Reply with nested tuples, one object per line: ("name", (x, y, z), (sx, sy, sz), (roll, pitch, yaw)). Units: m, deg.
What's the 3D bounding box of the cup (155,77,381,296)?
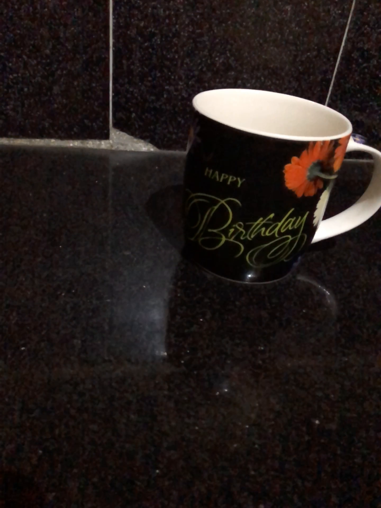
("cup", (0.049, -0.040, 0.251), (0.130, 0.089, 0.091), (2, 34, -9))
